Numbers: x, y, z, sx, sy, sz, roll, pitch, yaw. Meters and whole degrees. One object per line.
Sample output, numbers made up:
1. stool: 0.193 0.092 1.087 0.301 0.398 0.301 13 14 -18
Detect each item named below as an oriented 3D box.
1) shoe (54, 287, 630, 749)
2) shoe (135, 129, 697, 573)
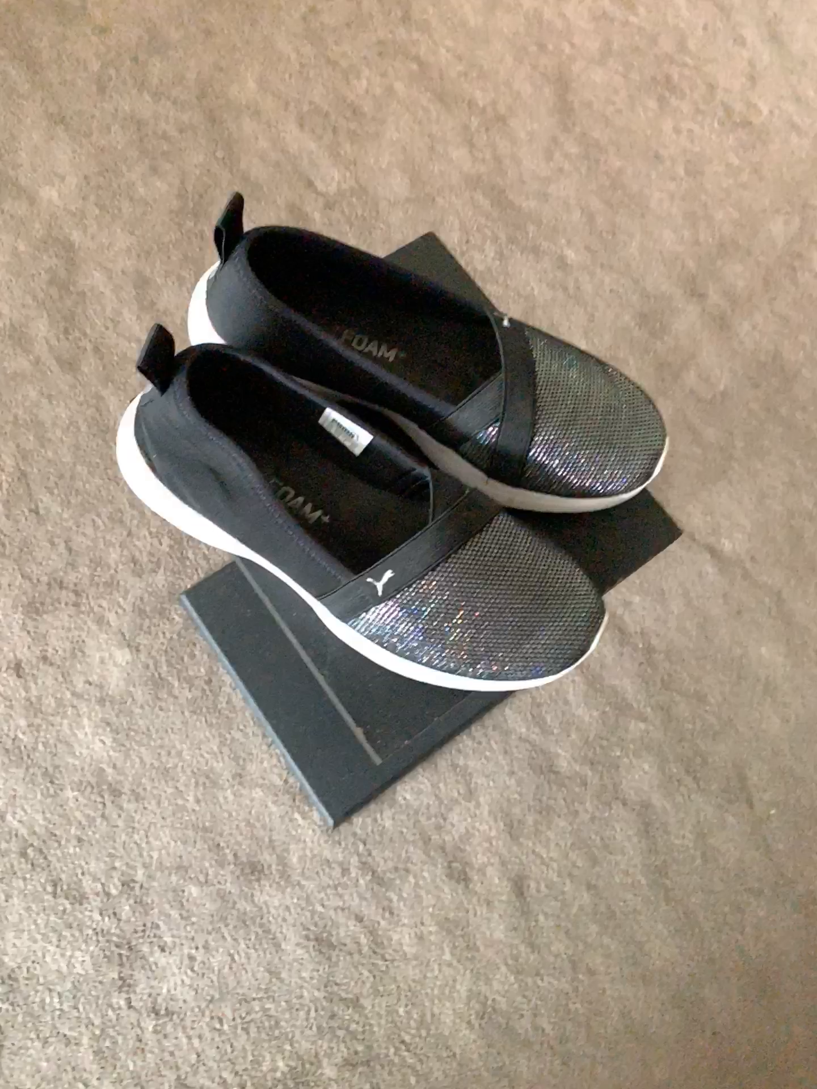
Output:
1. shoe: -0.029 -0.004 0.401 0.240 0.080 0.090 32 71 -7
2. shoe: 0.005 -0.086 0.428 0.260 0.080 0.090 25 71 -11
